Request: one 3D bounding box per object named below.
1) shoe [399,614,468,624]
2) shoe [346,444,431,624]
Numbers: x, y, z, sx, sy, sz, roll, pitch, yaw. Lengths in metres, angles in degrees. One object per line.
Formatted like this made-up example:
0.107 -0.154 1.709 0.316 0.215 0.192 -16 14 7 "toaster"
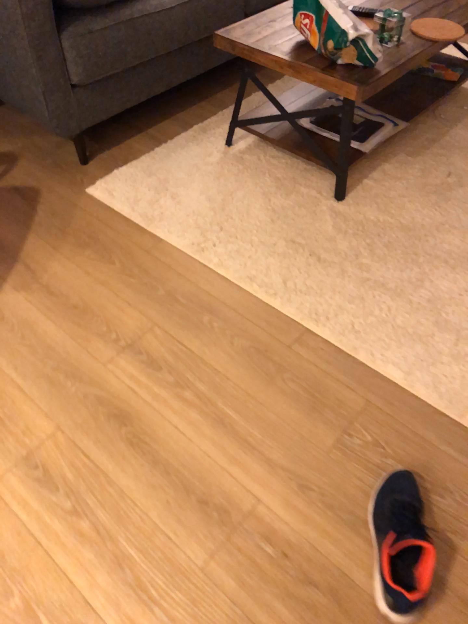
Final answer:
0.438 0.656 0.838 0.307 0.110 0.130 -25 53 -21 "shoe"
0.304 0.437 1.048 0.130 0.100 0.301 7 49 6 "shoe"
